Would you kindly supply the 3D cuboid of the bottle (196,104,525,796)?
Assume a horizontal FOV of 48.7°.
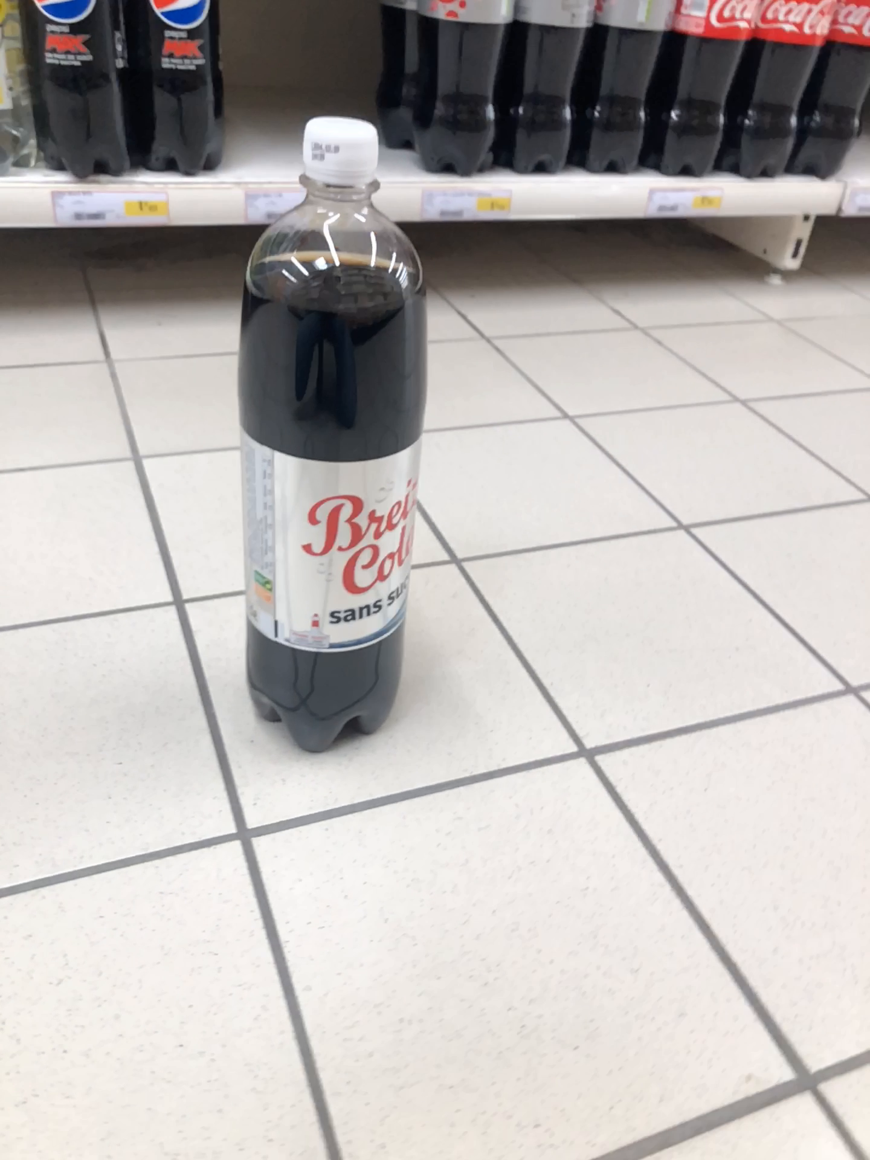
[{"bbox_3d":[-0.043,-0.053,0.482,0.090,0.318,0.101,30,41,31],"label":"bottle"}]
